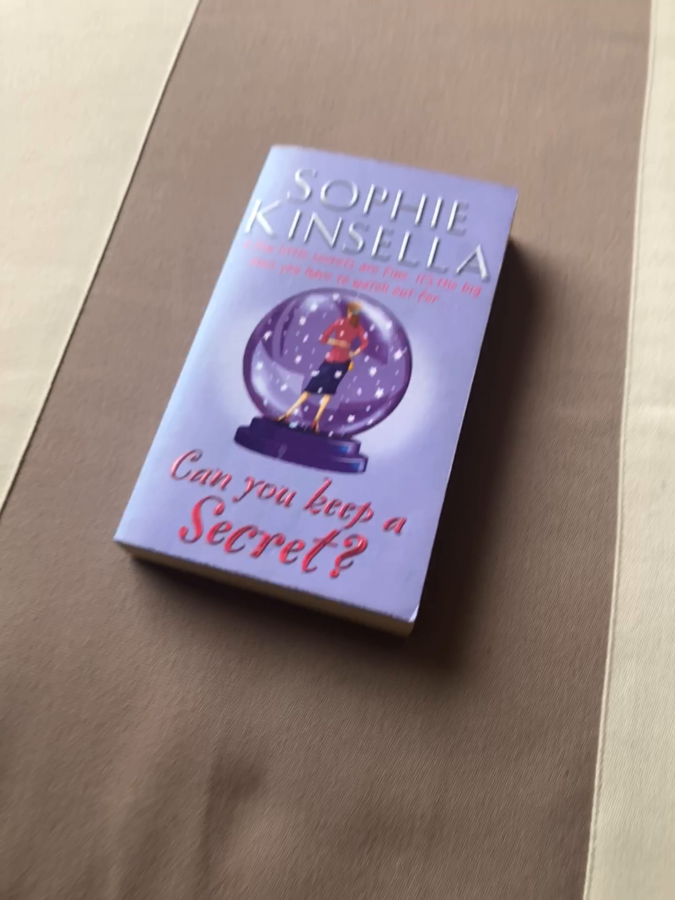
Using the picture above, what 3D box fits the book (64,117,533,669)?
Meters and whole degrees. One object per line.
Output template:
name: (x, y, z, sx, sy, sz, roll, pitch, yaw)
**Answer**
book: (-0.005, -0.028, 0.271, 0.110, 0.040, 0.181, 14, 69, 8)
